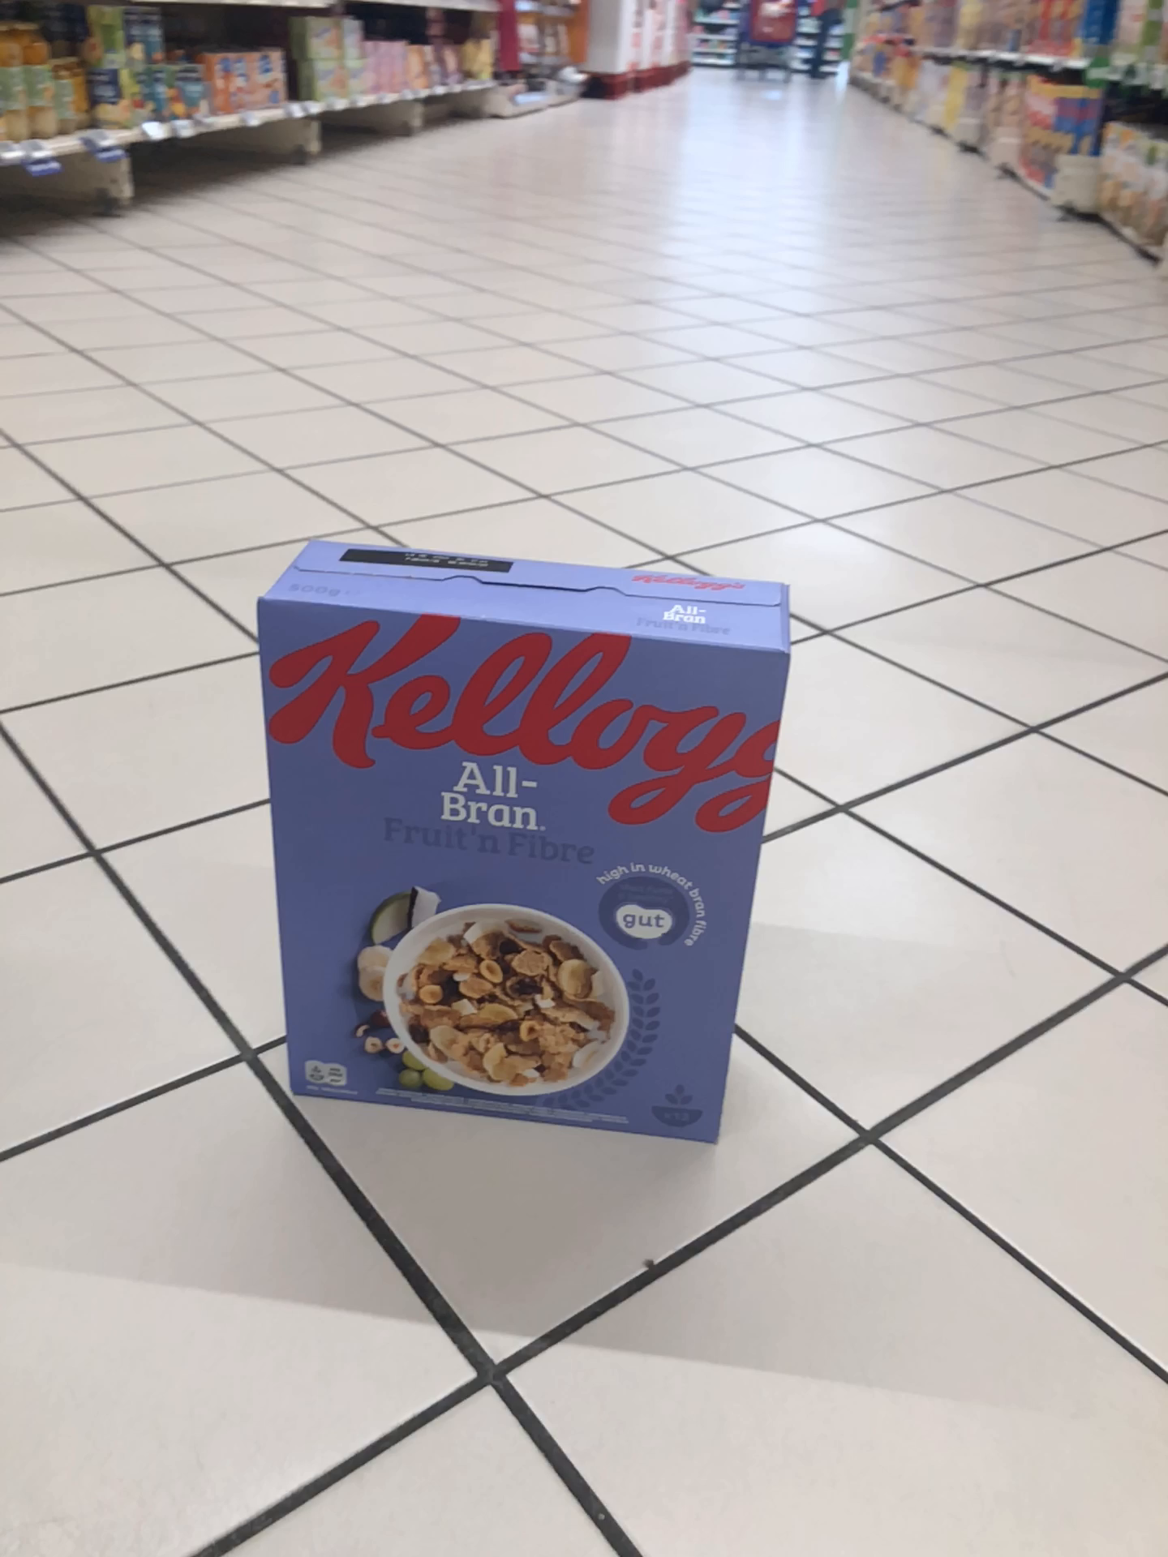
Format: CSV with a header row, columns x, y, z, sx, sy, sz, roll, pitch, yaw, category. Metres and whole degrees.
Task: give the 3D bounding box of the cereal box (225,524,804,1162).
x,y,z,sx,sy,sz,roll,pitch,yaw,category
-0.028,0.032,0.527,0.200,0.239,0.070,6,29,4,cereal box
